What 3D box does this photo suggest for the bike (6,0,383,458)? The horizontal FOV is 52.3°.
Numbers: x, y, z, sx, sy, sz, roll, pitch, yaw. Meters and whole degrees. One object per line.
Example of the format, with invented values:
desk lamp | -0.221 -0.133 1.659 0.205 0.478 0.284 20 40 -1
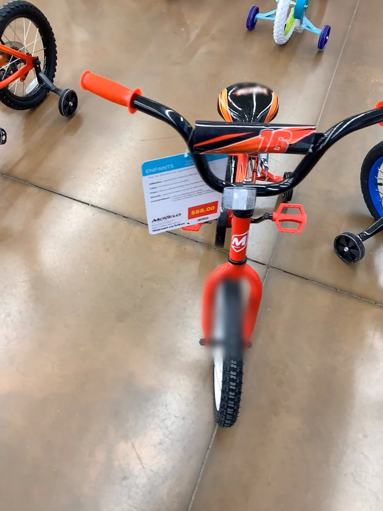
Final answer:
bike | 0.144 -0.171 1.043 0.515 0.954 1.145 4 54 1
